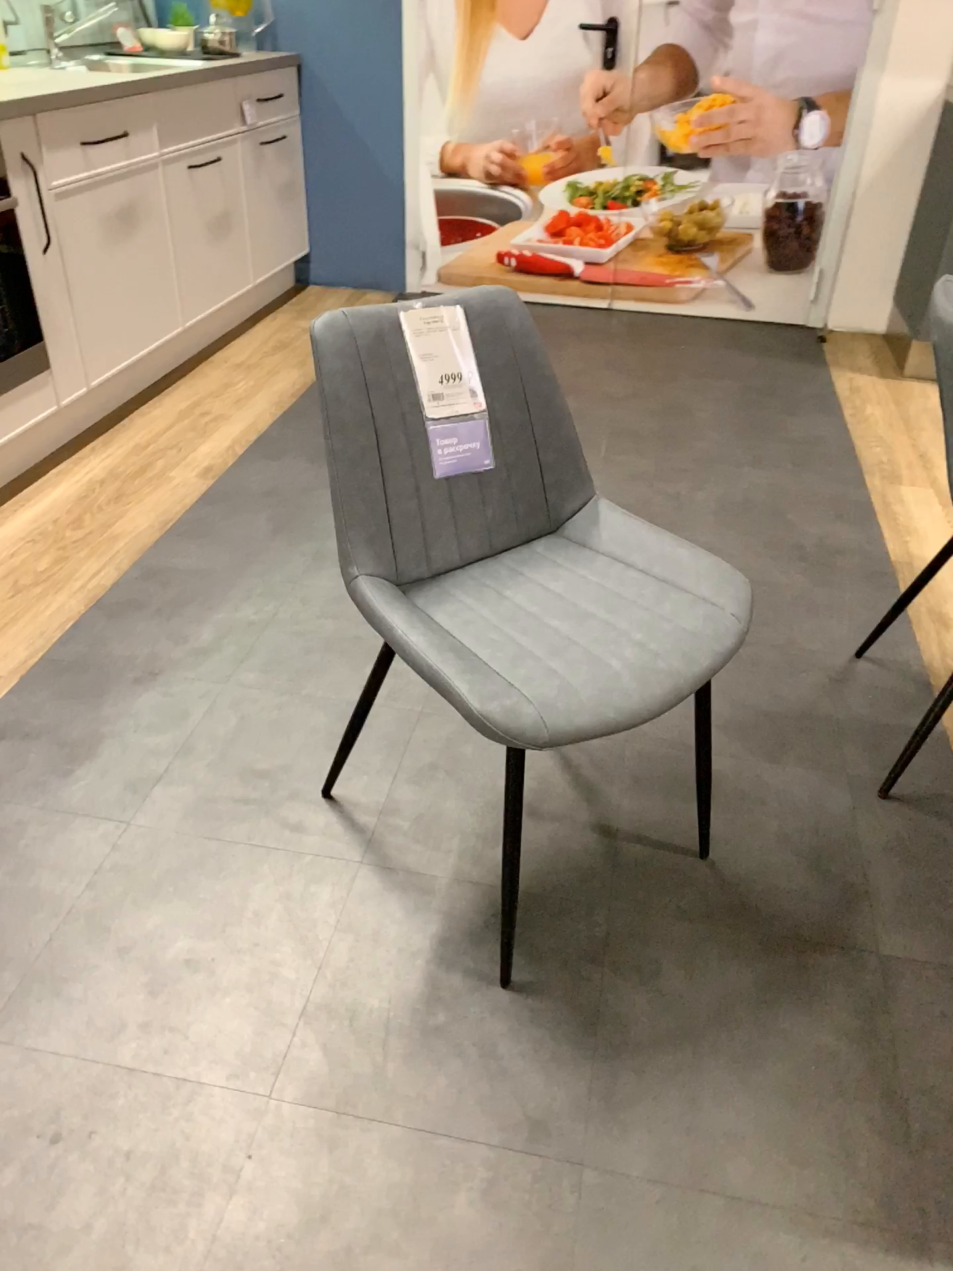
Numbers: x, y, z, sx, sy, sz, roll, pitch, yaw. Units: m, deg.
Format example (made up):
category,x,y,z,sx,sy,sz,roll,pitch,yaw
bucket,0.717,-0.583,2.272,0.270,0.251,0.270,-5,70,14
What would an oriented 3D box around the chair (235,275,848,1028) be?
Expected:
category,x,y,z,sx,sy,sz,roll,pitch,yaw
chair,0.053,-0.013,1.468,0.524,0.833,0.590,-22,40,-31
